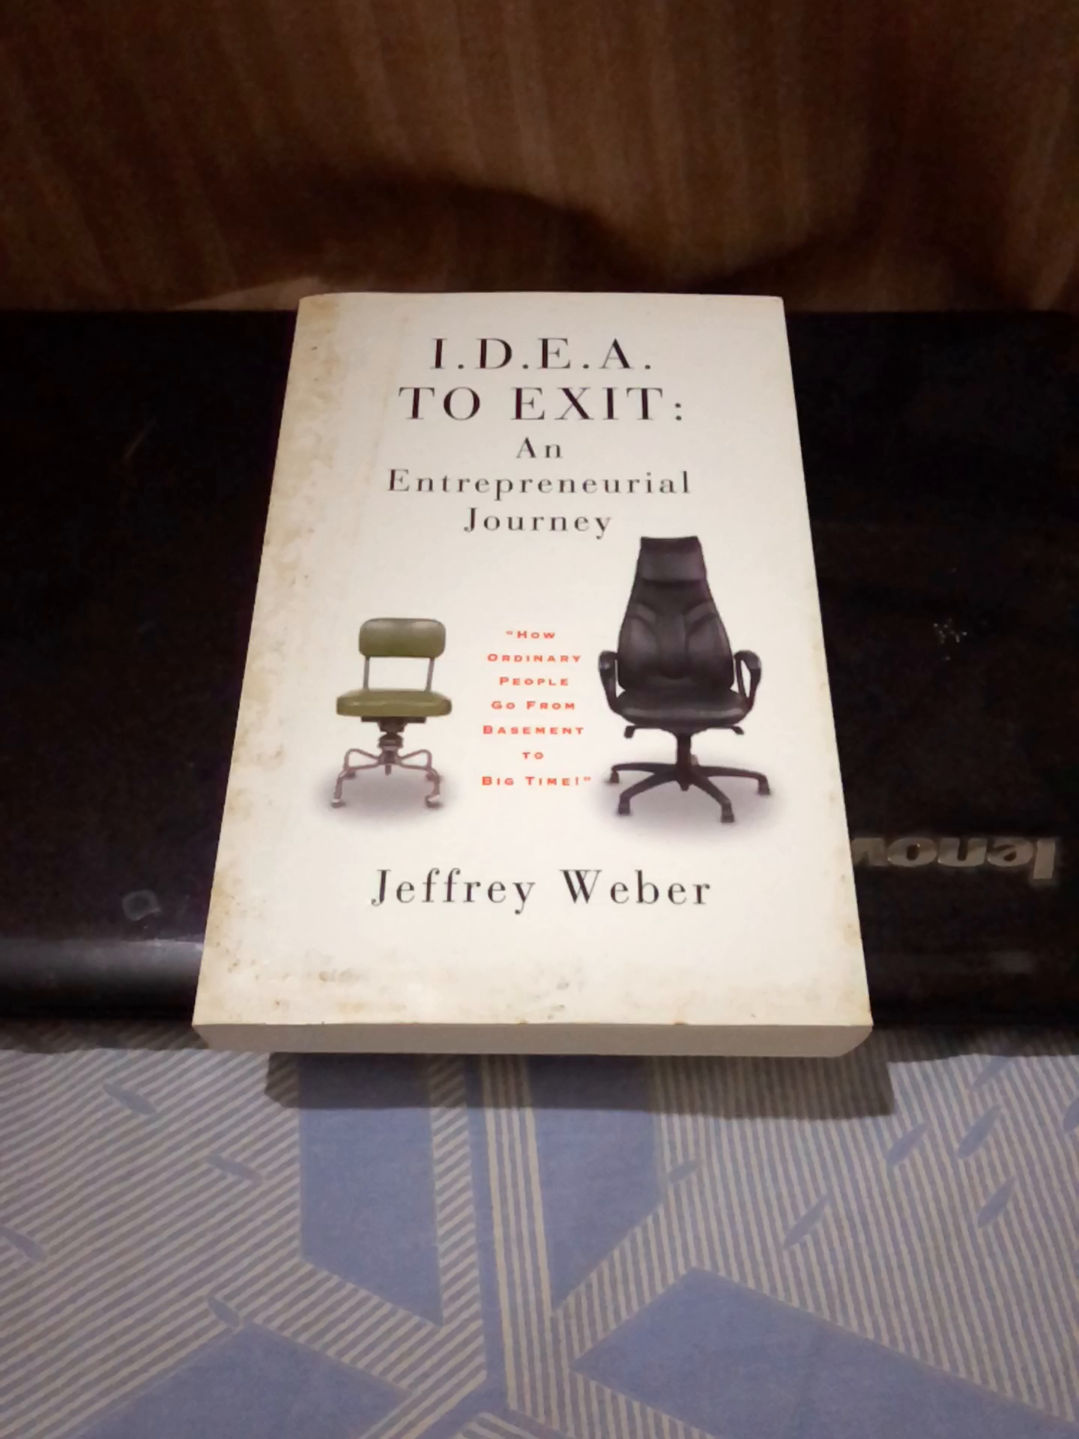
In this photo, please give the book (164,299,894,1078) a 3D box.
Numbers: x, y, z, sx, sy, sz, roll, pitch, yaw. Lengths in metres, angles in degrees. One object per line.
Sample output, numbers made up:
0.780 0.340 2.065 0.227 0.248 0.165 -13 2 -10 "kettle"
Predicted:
-0.001 -0.025 0.340 0.160 0.030 0.241 1 58 0 "book"
